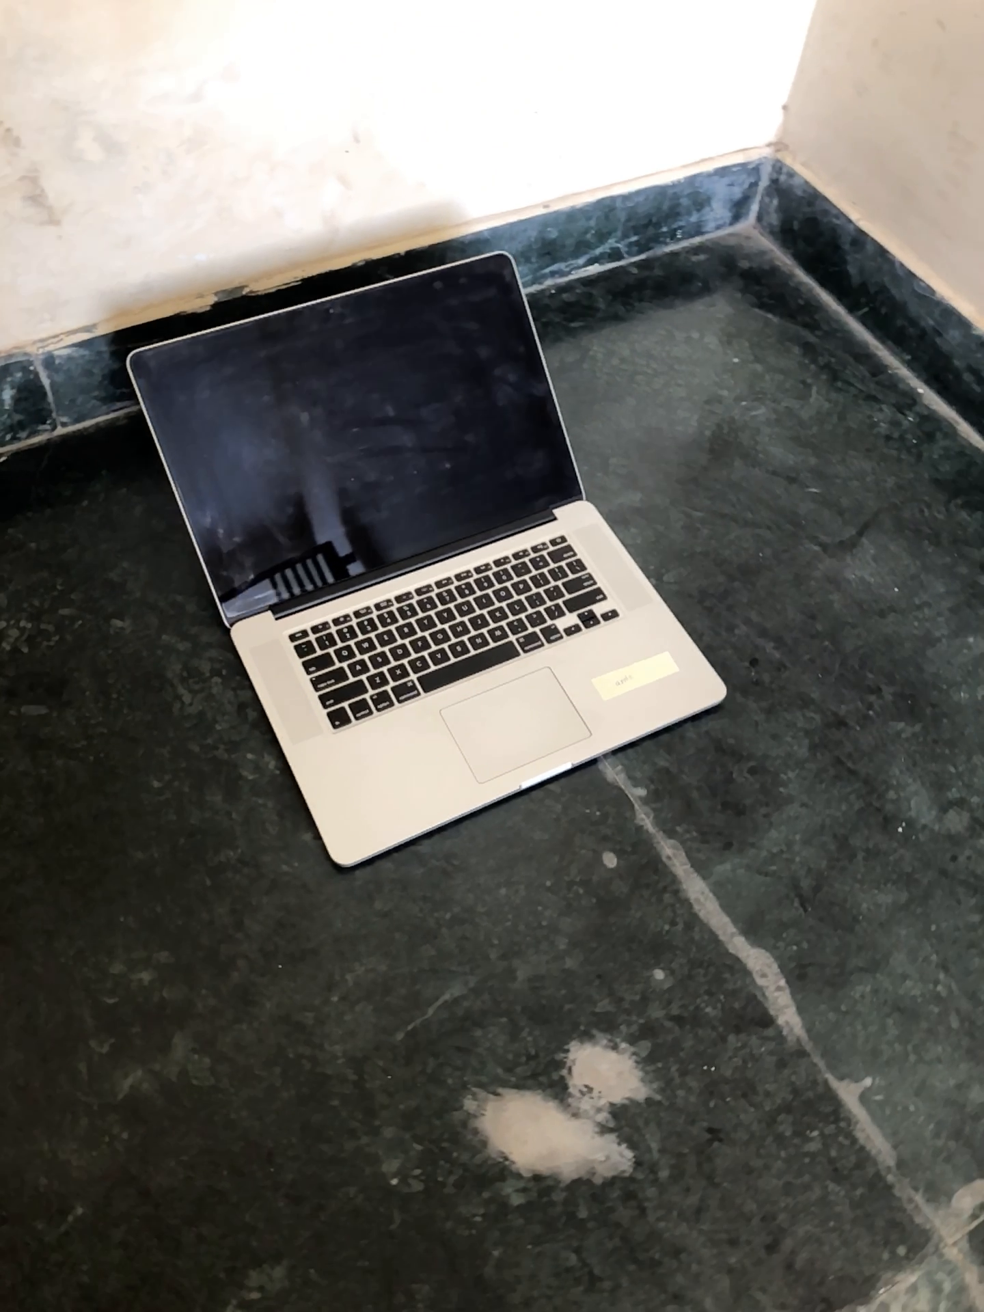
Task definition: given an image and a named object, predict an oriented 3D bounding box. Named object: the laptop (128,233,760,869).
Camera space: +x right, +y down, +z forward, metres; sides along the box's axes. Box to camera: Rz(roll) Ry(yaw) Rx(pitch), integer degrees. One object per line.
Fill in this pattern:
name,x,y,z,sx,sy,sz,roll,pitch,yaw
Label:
laptop,-0.052,-0.114,0.891,0.343,0.130,0.434,-22,63,-19
